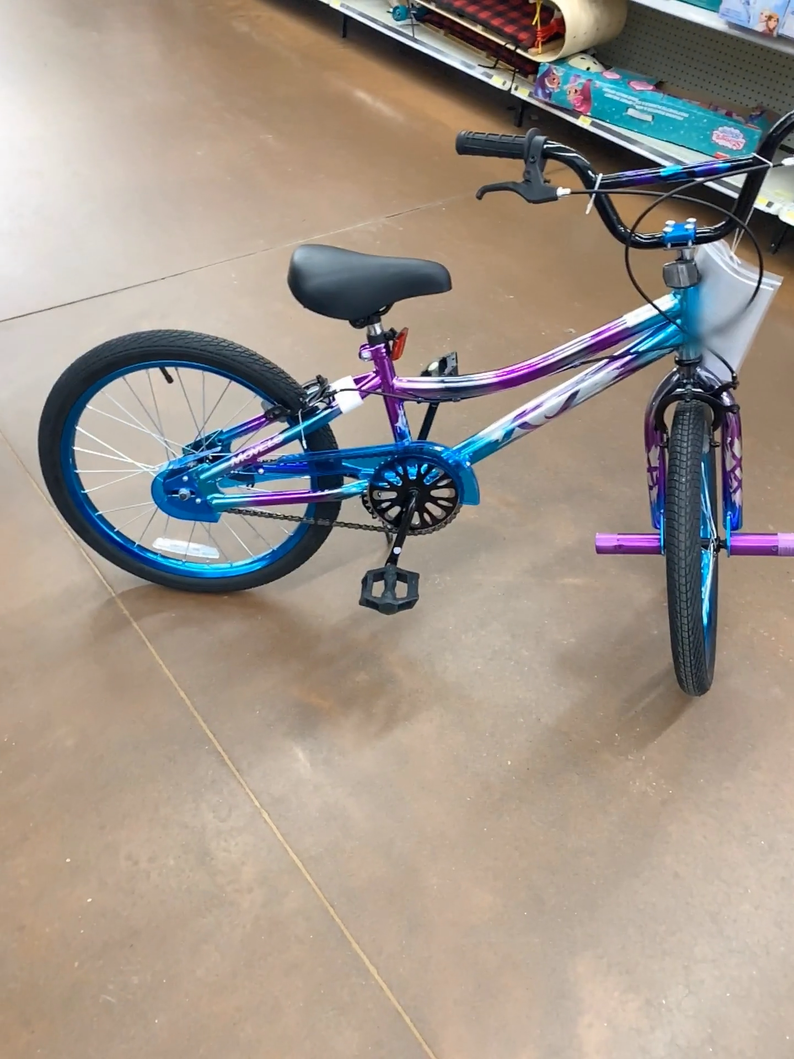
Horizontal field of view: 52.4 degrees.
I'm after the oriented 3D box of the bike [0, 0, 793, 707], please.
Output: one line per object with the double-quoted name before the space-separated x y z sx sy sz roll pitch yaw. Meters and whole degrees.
"bike" -0.081 -0.290 1.199 0.933 0.931 0.580 8 45 -1
